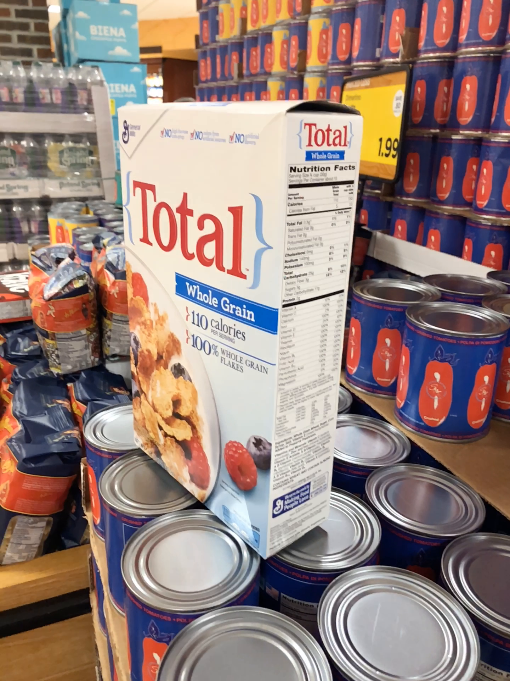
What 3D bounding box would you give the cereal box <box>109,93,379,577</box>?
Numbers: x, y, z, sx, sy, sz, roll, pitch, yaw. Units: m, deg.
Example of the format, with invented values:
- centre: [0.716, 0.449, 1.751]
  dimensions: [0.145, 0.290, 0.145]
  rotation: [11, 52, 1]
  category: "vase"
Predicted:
- centre: [-0.027, -0.019, 0.434]
  dimensions: [0.070, 0.308, 0.211]
  rotation: [-13, 25, -37]
  category: "cereal box"
